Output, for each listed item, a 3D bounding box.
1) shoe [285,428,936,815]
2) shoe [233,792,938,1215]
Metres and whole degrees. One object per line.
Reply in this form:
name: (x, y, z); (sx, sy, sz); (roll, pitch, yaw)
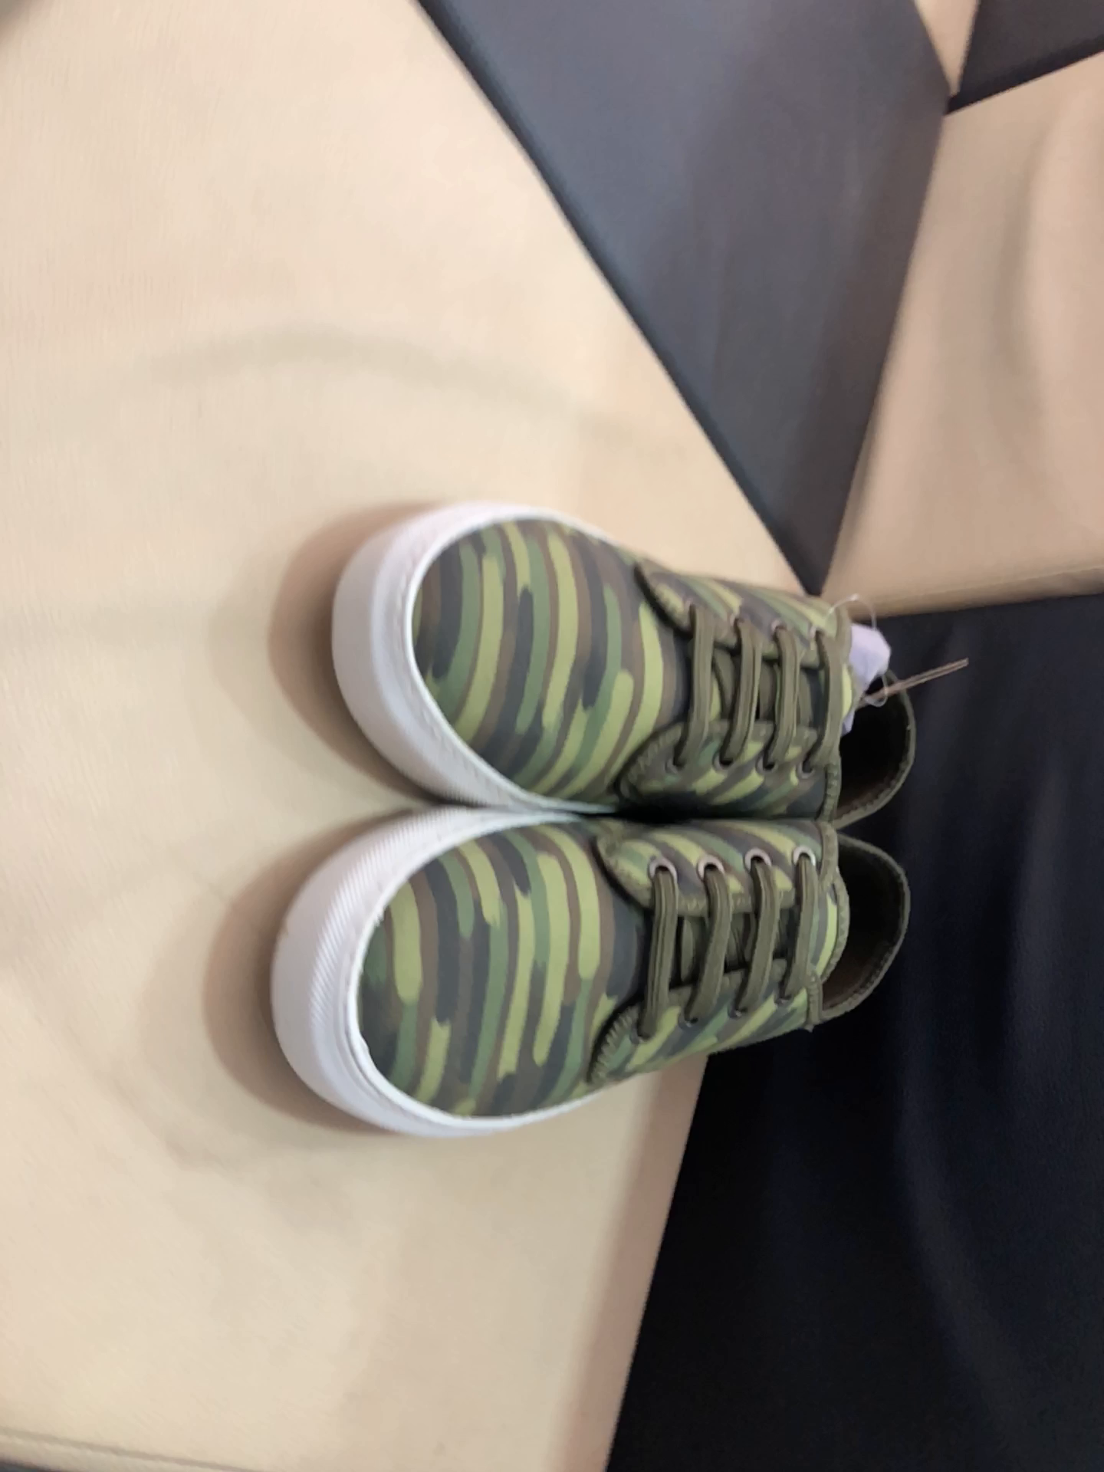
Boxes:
shoe: (0.048, -0.021, 0.468); (0.313, 0.079, 0.100); (5, 84, -52)
shoe: (0.040, 0.074, 0.440); (0.313, 0.079, 0.100); (5, 84, -52)
